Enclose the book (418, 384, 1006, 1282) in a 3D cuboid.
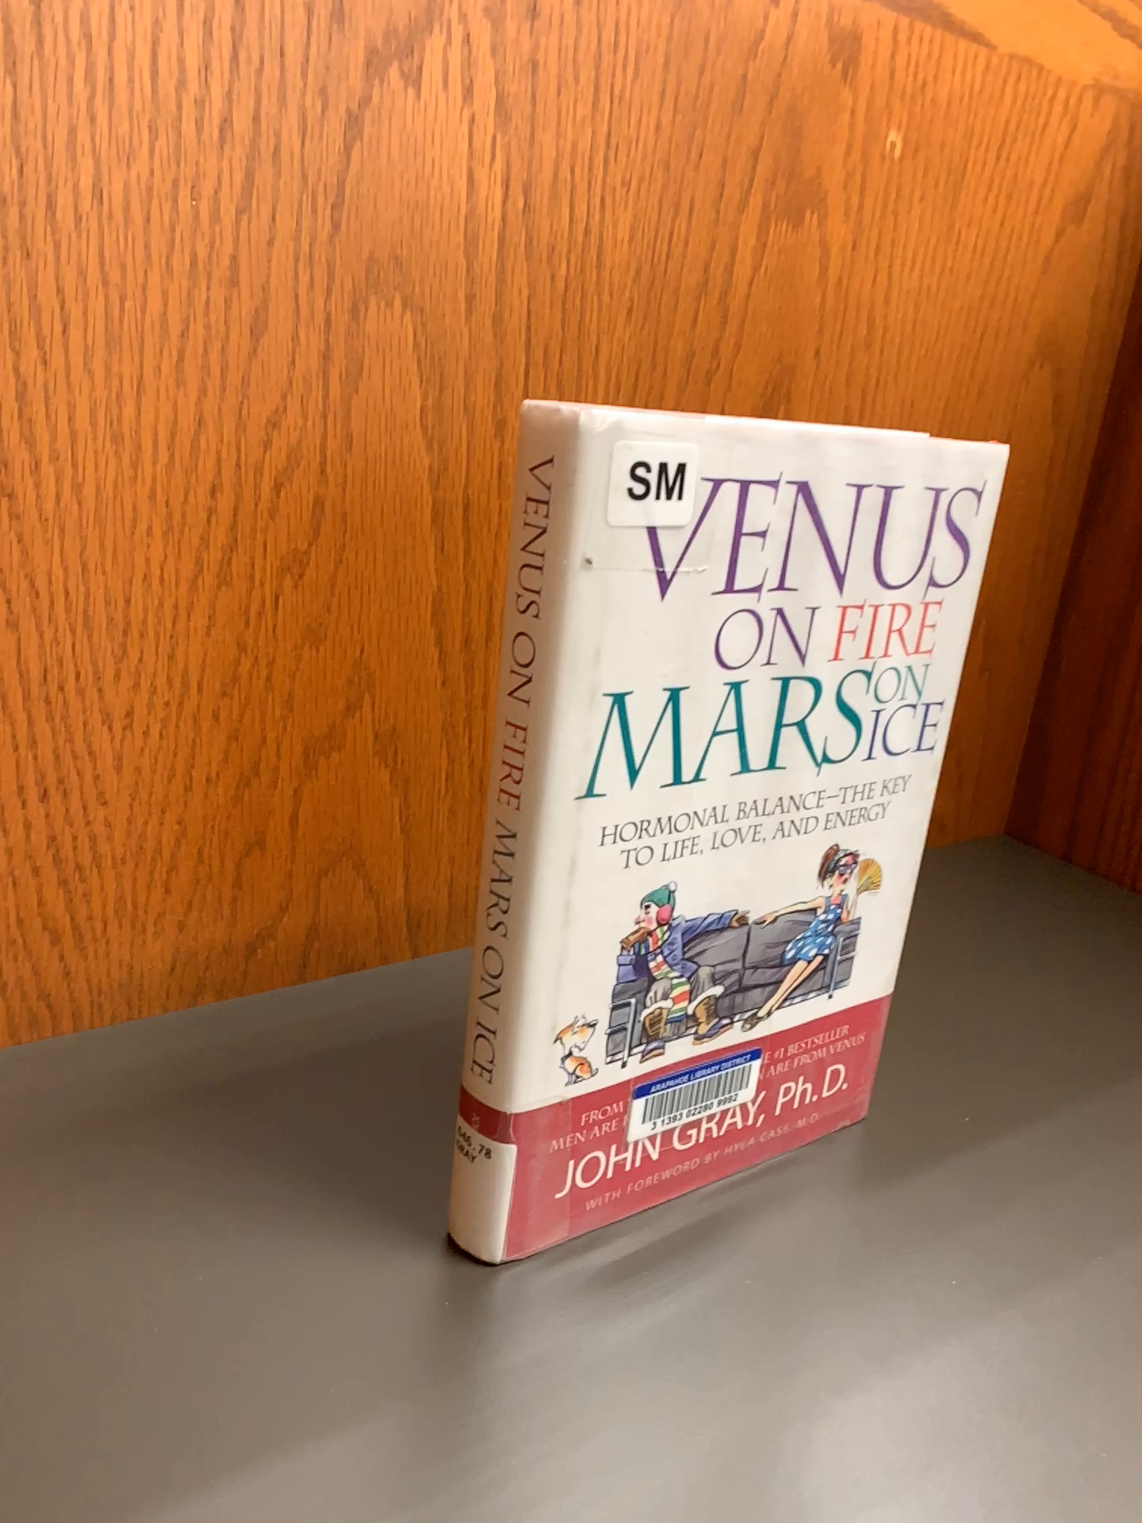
[{"bbox_3d":[0.039,0.017,0.328,0.154,0.220,0.033,-7,22,-35],"label":"book"}]
